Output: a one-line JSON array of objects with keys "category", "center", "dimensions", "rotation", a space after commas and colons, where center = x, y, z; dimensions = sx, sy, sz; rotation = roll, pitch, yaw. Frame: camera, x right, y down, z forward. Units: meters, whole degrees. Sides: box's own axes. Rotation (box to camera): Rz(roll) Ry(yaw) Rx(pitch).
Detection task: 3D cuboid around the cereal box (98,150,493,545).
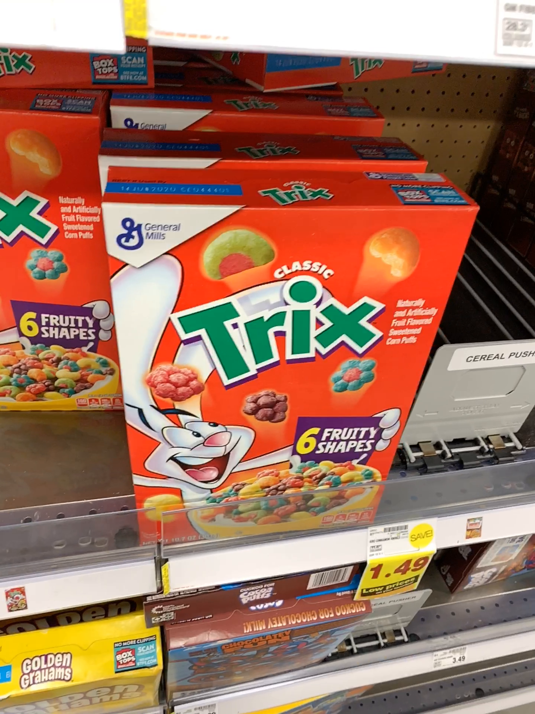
[{"category": "cereal box", "center": [0.002, 0.014, 0.385], "dimensions": [0.200, 0.289, 0.060], "rotation": [-3, 41, -12]}]
